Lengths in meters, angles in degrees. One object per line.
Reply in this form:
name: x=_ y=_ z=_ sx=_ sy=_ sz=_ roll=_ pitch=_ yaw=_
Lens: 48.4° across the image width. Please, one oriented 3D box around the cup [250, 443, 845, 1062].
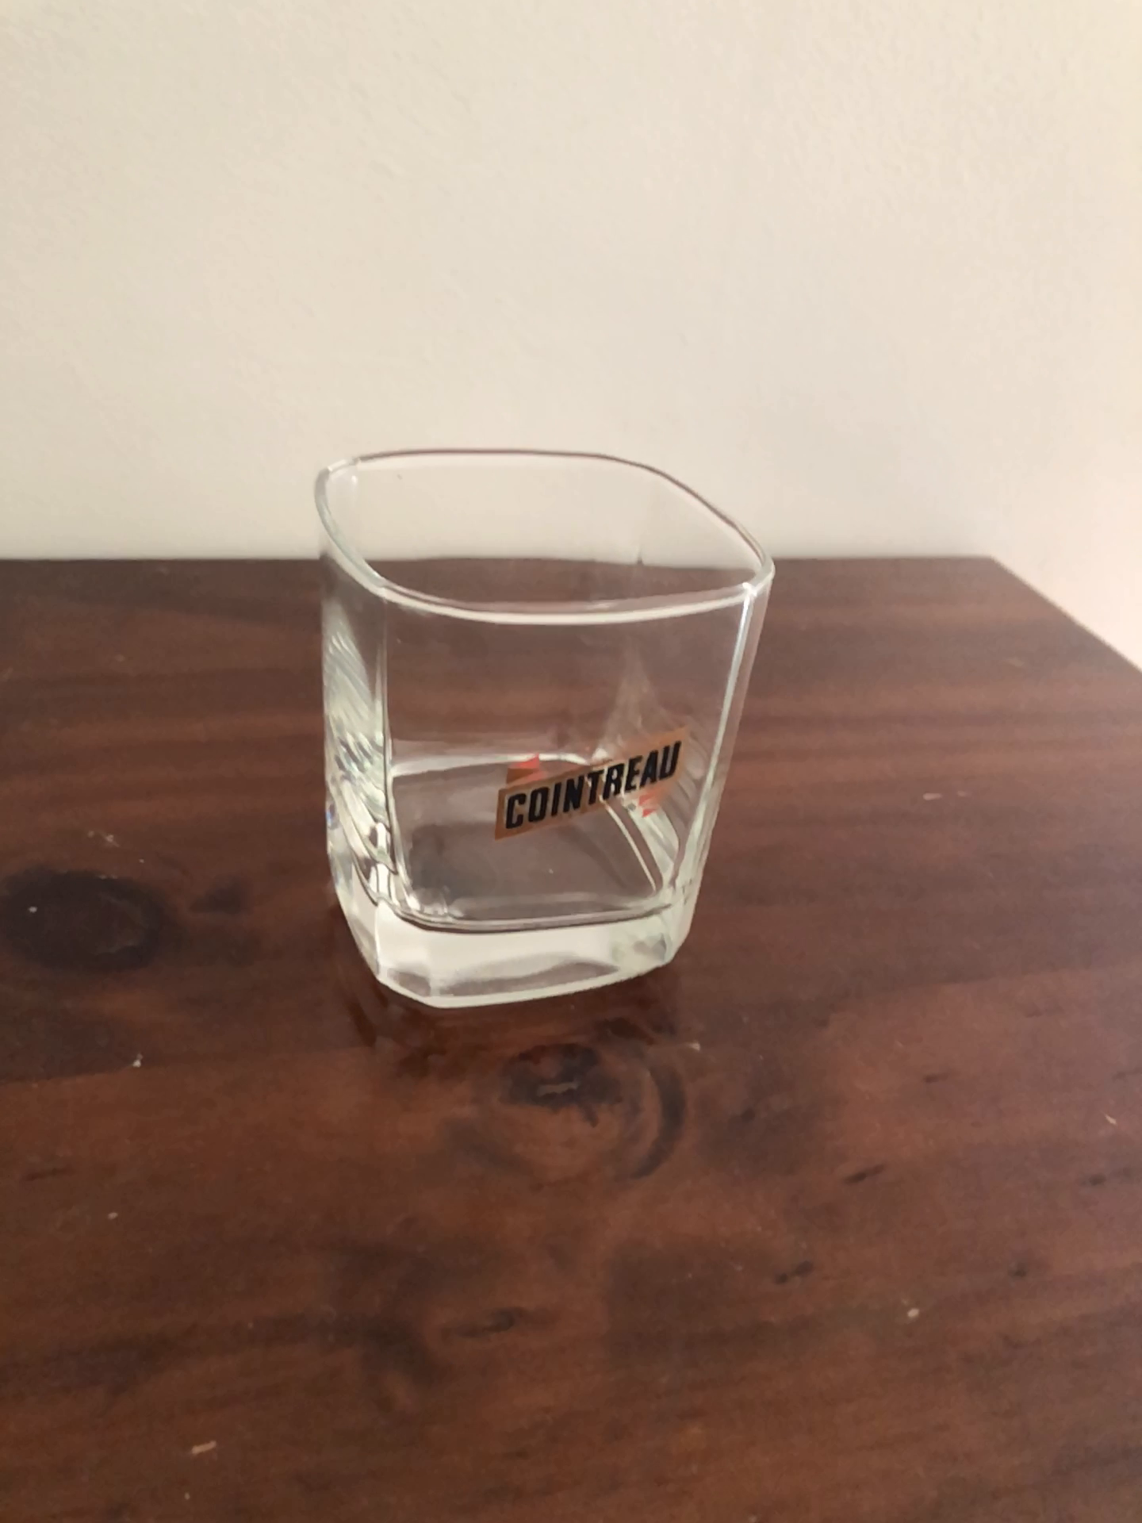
cup: x=-0.013 y=-0.008 z=0.250 sx=0.086 sy=0.085 sz=0.081 roll=6 pitch=30 yaw=-3
